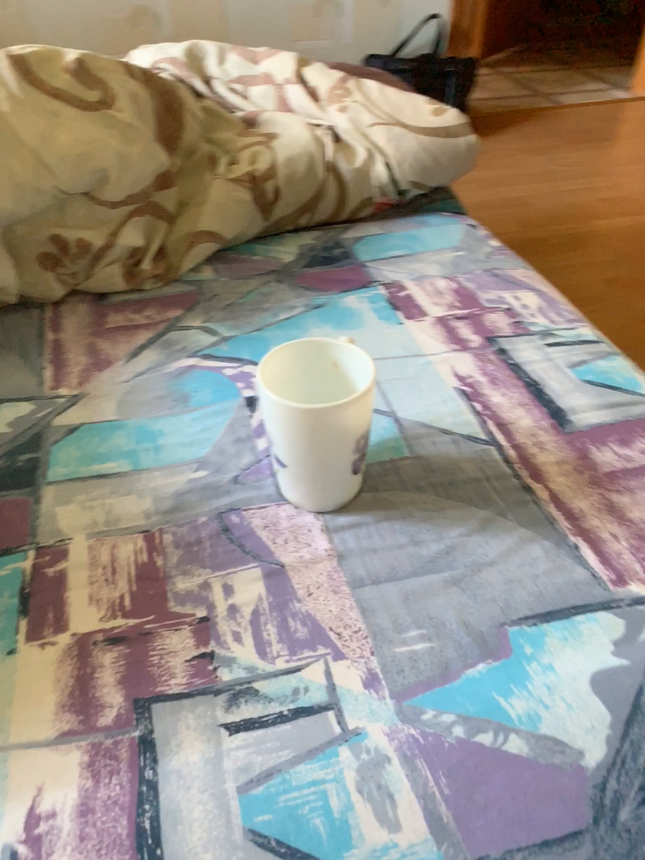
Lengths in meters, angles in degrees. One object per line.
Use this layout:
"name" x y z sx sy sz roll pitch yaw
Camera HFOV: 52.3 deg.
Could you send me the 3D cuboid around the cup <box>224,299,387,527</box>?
"cup" -0.006 -0.015 0.471 0.080 0.099 0.121 9 42 11
